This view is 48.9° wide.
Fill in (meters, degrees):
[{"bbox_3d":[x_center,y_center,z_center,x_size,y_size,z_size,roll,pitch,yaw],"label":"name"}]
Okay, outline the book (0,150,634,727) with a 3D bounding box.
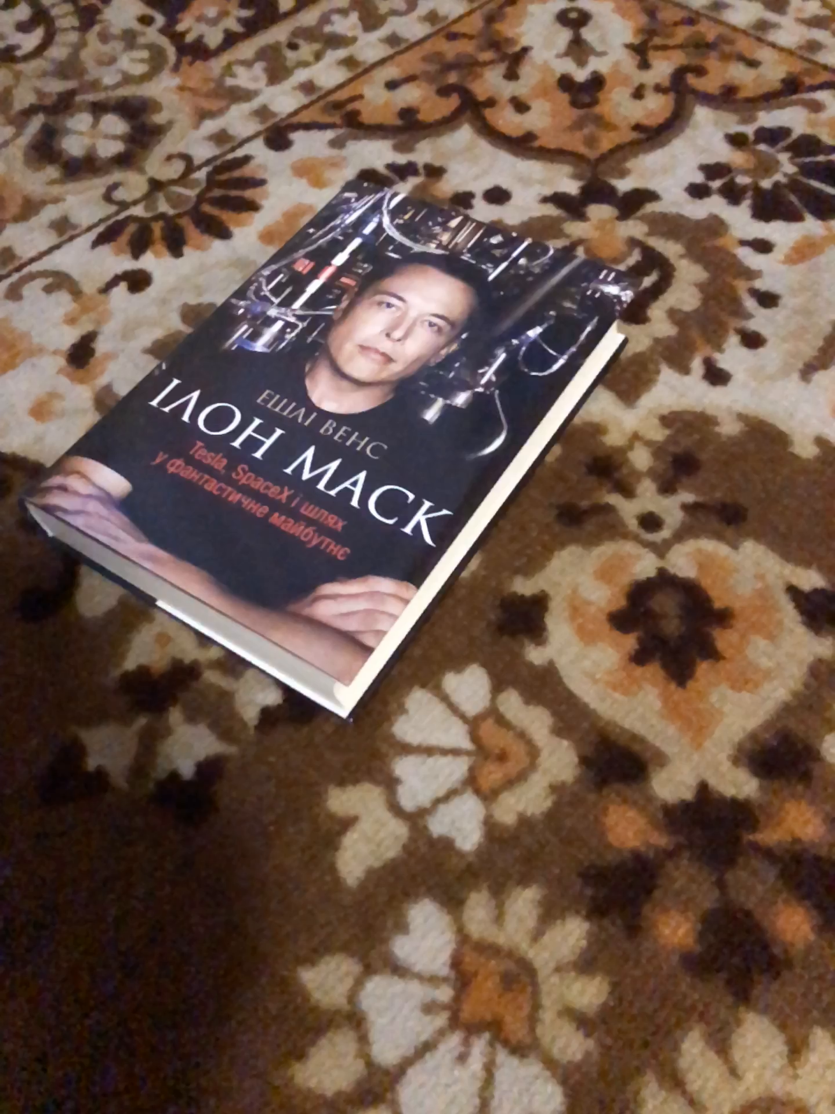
[{"bbox_3d":[-0.039,-0.076,0.436,0.184,0.050,0.251,27,63,18],"label":"book"}]
